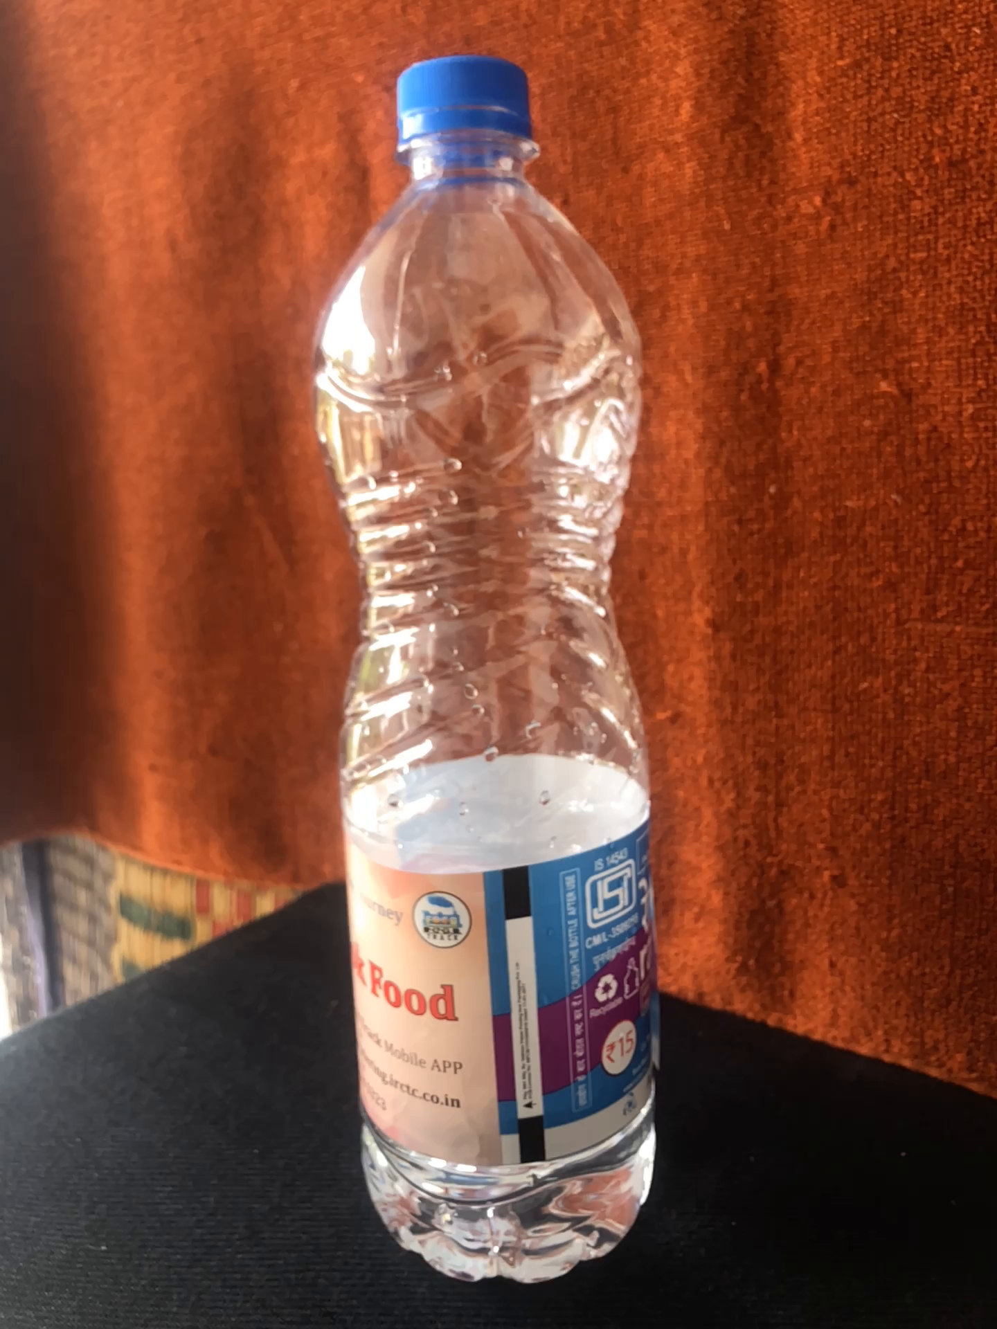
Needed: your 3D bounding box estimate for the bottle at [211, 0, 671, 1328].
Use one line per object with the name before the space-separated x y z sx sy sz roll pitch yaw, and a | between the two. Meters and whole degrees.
bottle | -0.013 0.004 0.265 0.070 0.279 0.090 -7 14 -19
